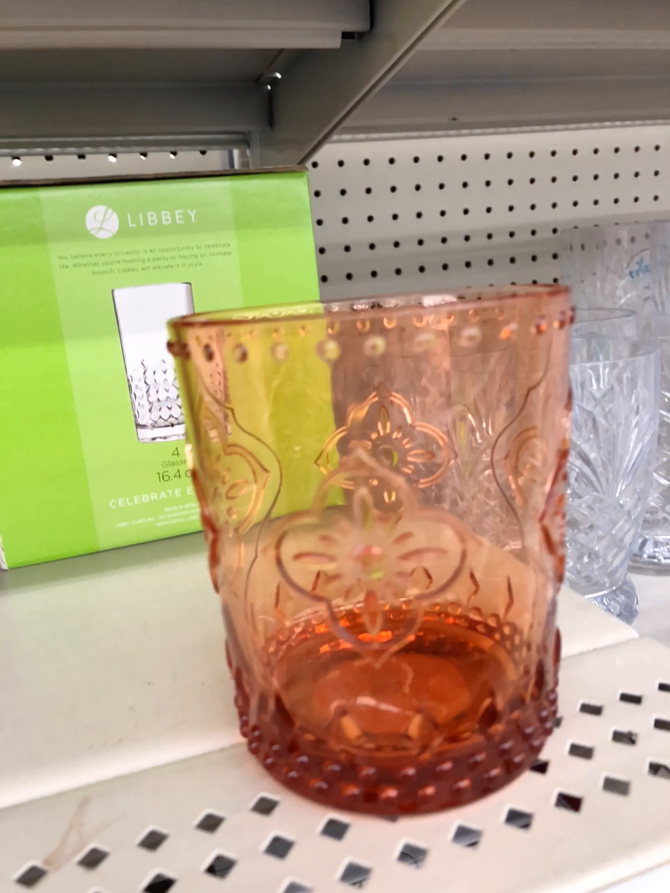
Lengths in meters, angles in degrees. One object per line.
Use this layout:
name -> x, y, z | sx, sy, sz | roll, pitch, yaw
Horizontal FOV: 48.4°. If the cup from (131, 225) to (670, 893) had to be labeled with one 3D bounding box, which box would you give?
cup -> 0.020, 0.011, 0.174 | 0.090, 0.110, 0.080 | -15, 16, -38
